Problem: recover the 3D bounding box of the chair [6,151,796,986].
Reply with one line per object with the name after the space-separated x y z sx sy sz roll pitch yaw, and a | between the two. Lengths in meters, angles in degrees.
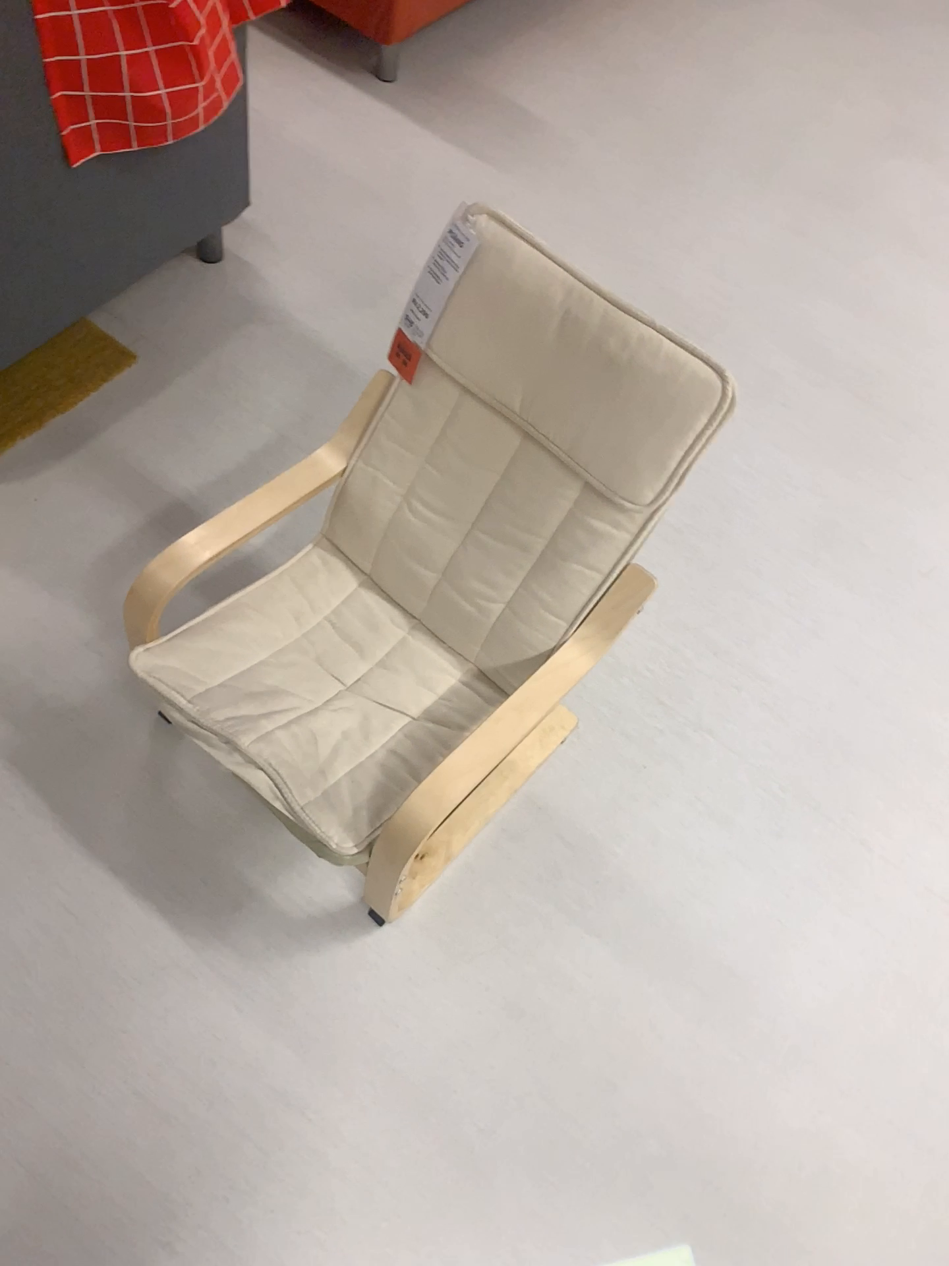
-0.102 -0.017 1.223 0.490 0.798 0.541 39 60 13 | chair
